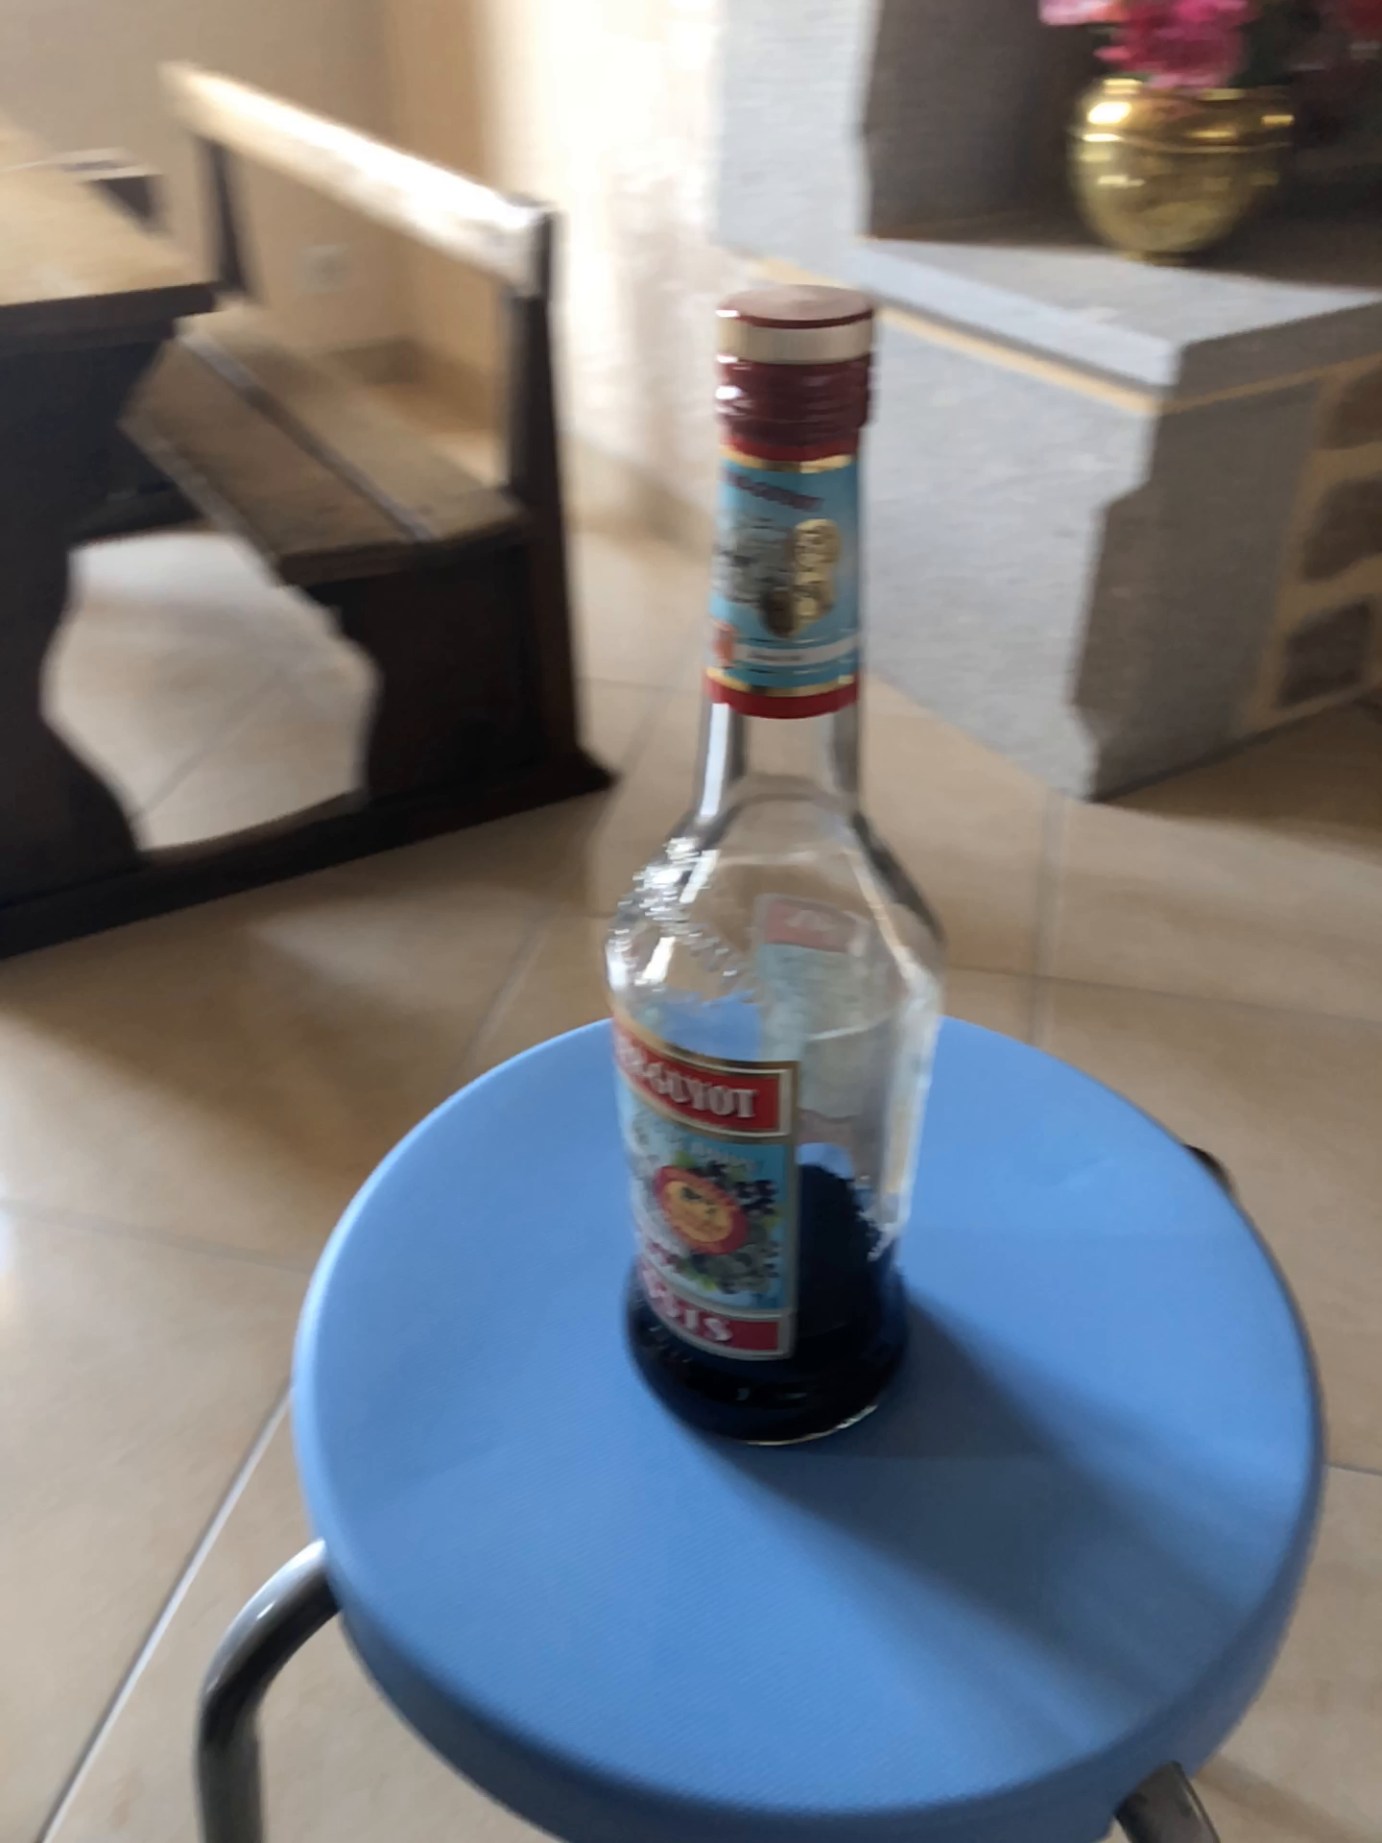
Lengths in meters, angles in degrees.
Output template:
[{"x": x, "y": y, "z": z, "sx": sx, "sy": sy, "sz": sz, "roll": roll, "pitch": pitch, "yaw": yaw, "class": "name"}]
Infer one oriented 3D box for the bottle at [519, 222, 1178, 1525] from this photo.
[{"x": 0.026, "y": 0.004, "z": 0.368, "sx": 0.090, "sy": 0.298, "sz": 0.090, "roll": 0, "pitch": 35, "yaw": 0, "class": "bottle"}]
